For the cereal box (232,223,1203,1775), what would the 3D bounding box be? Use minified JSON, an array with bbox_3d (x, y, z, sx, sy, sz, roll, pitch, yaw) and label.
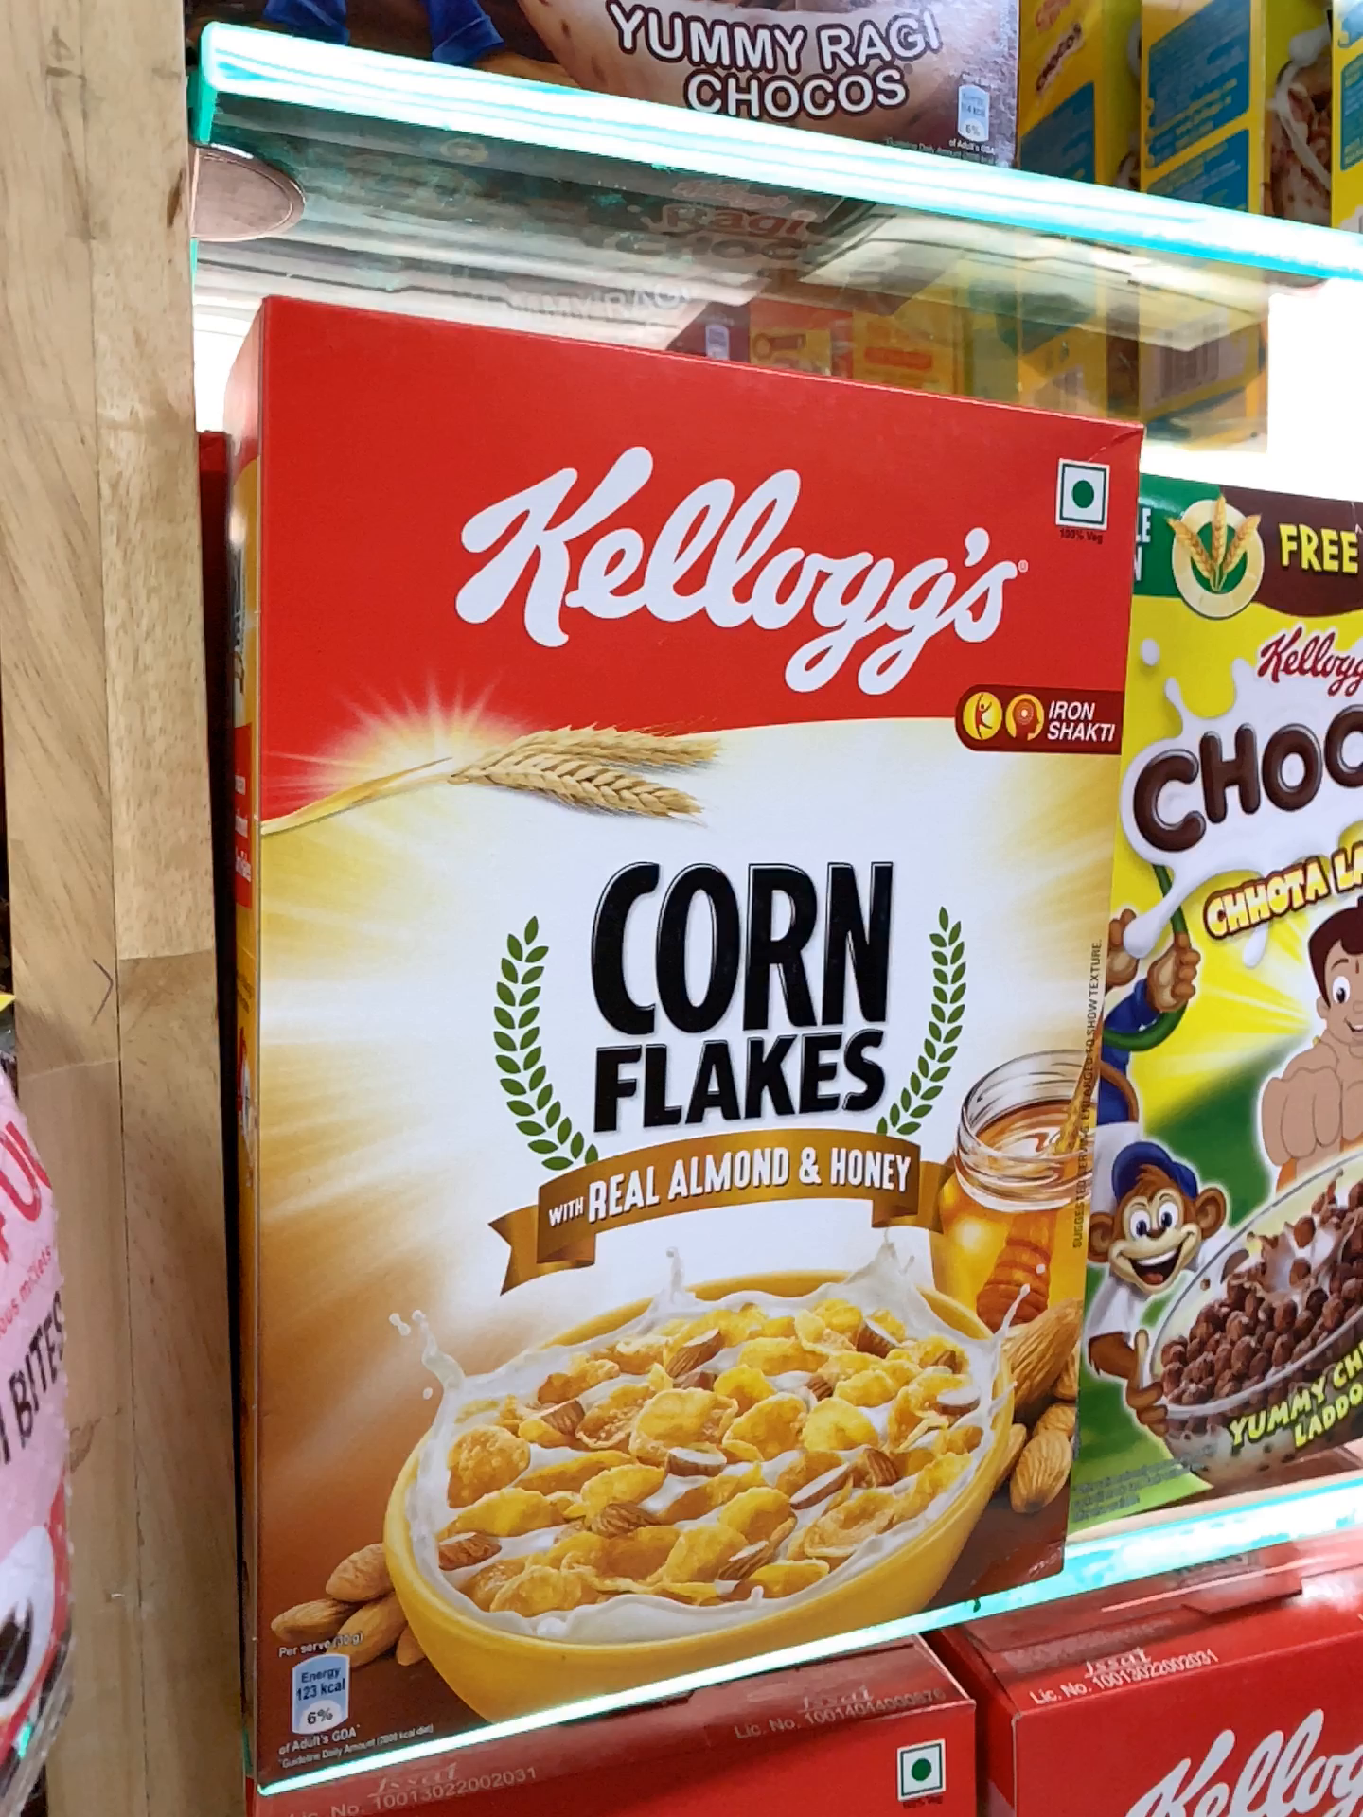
[{"bbox_3d":[0.003,0.015,0.282,0.170,0.239,0.070,-1,7,-24],"label":"cereal box"}]
